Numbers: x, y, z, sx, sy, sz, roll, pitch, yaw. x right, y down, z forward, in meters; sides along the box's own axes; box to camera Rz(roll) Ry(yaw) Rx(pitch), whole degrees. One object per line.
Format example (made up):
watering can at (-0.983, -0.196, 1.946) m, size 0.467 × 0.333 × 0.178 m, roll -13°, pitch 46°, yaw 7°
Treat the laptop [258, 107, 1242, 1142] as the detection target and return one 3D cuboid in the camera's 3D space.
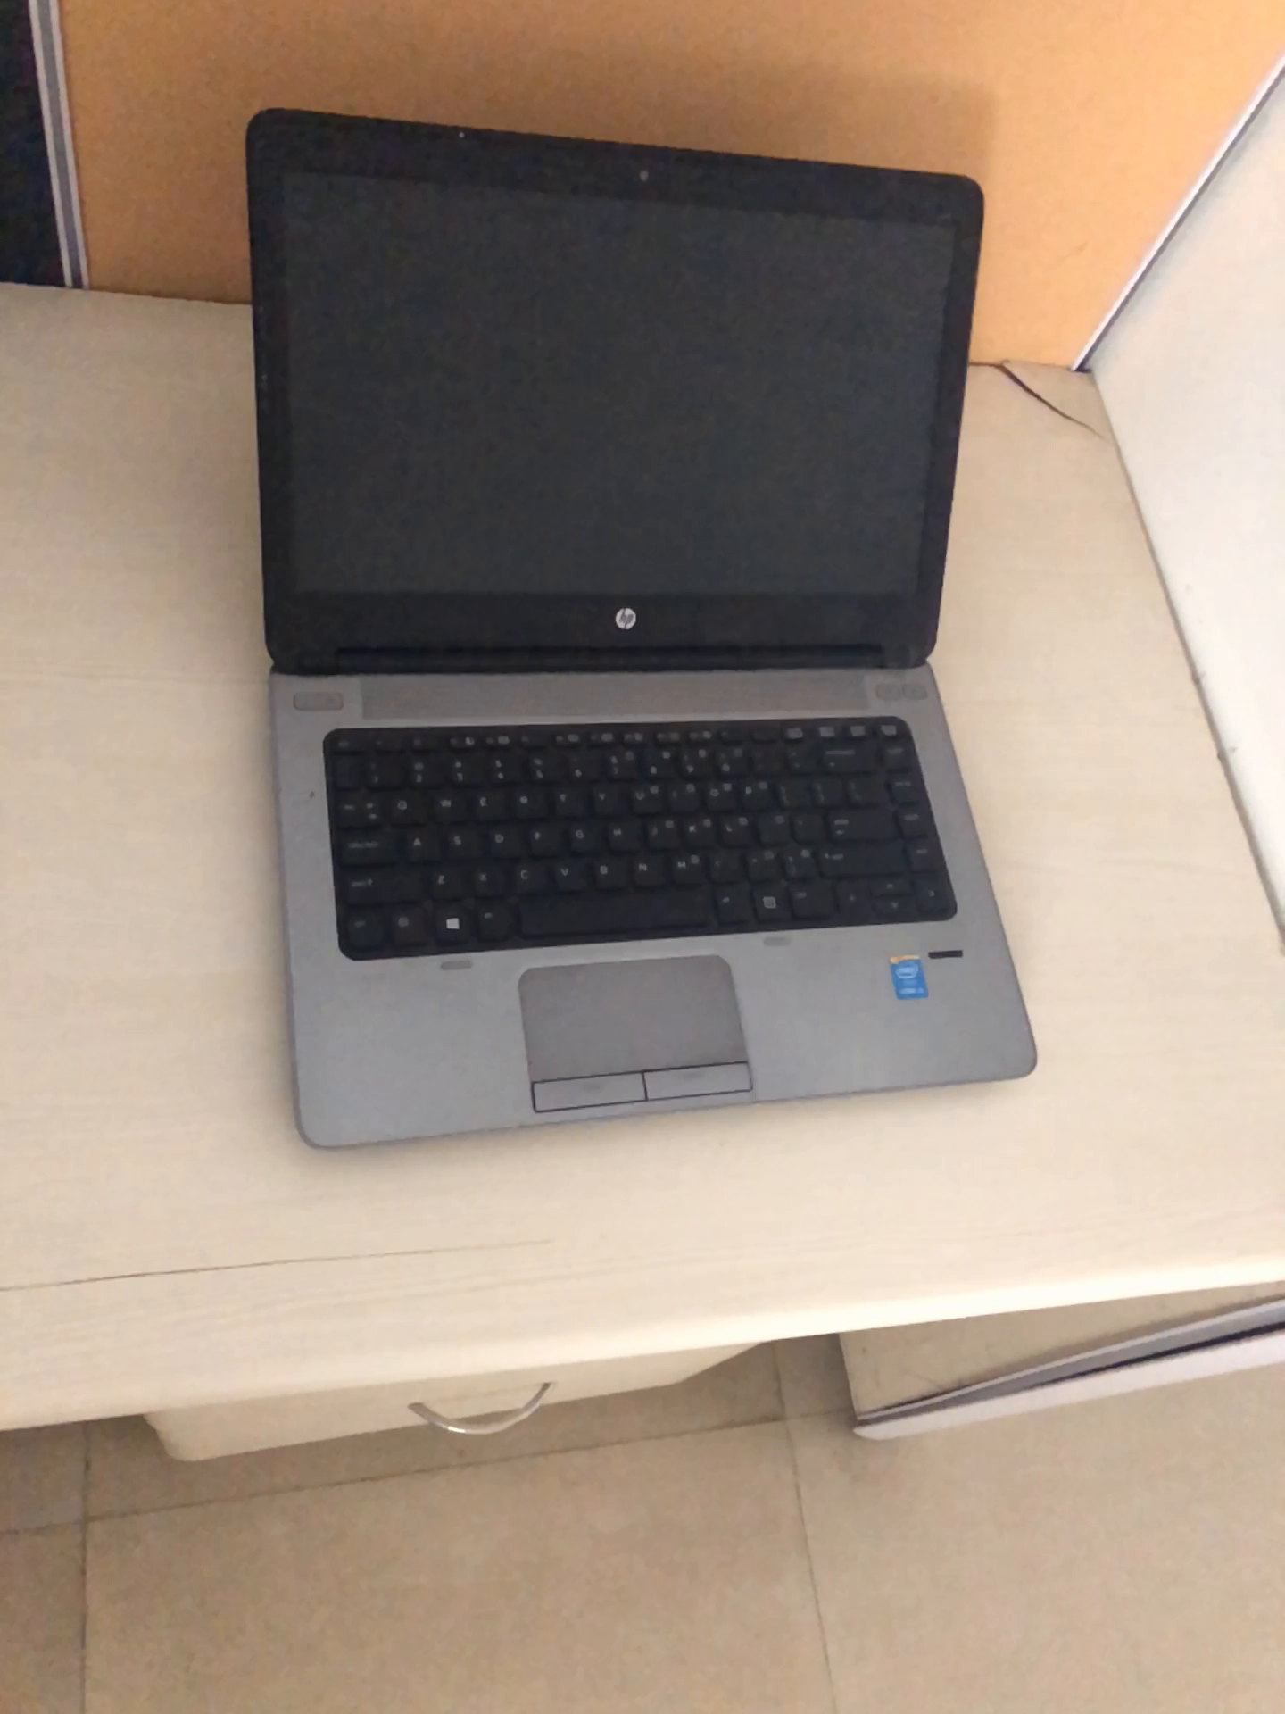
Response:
laptop at (0.015, -0.101, 0.615) m, size 0.324 × 0.167 × 0.372 m, roll -4°, pitch 67°, yaw -17°
